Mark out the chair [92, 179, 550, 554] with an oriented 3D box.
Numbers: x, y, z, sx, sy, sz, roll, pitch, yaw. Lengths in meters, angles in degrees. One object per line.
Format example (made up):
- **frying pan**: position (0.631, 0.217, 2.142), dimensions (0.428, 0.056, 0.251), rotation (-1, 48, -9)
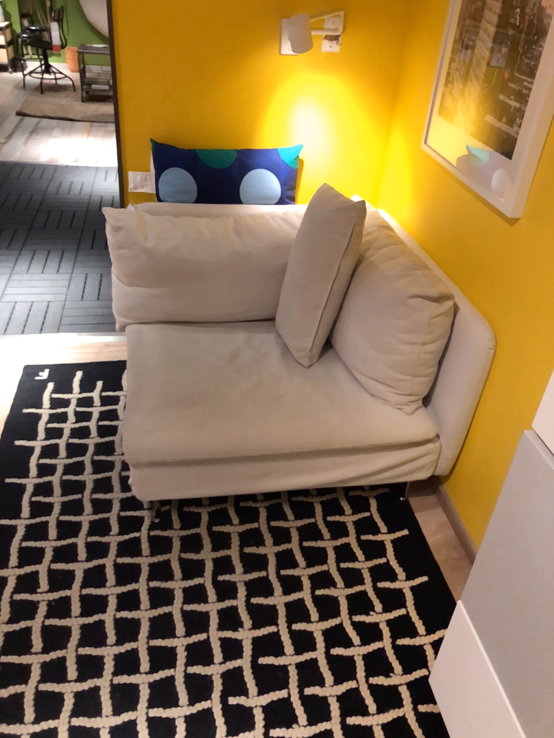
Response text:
- **chair**: position (0.027, -0.090, 2.051), dimensions (1.110, 0.755, 1.017), rotation (-2, 35, -11)
